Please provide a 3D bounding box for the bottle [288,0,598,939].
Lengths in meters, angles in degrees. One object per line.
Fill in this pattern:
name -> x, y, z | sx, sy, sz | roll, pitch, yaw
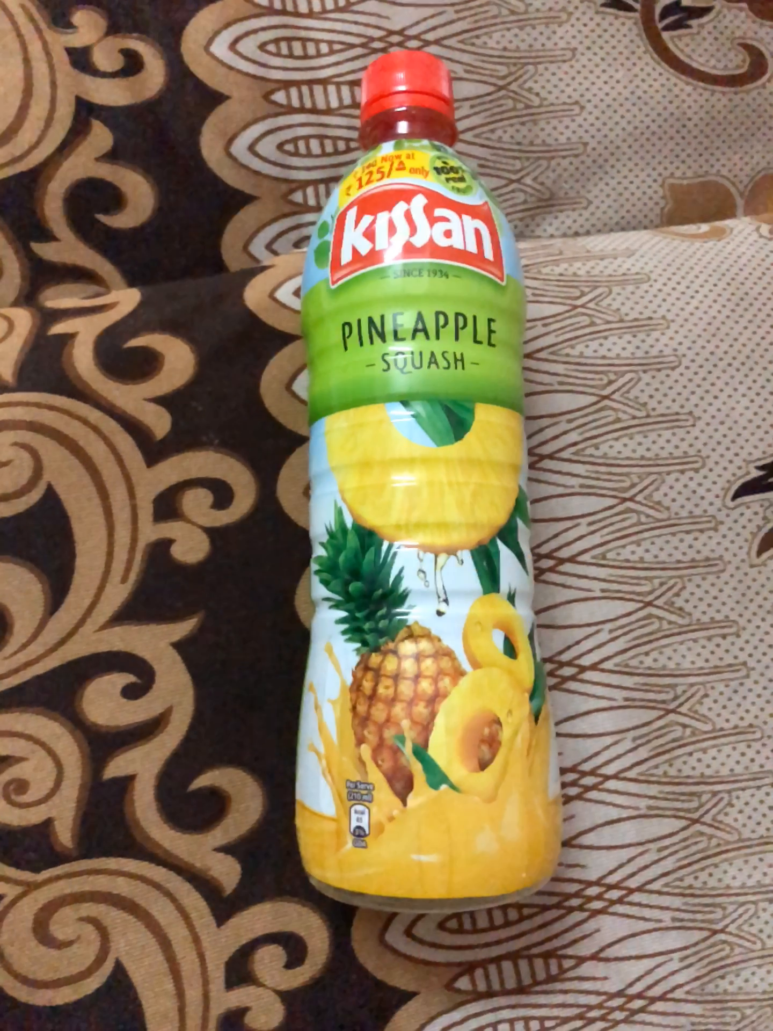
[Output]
bottle -> 0.009, -0.022, 0.240 | 0.070, 0.060, 0.240 | 1, 83, -8
